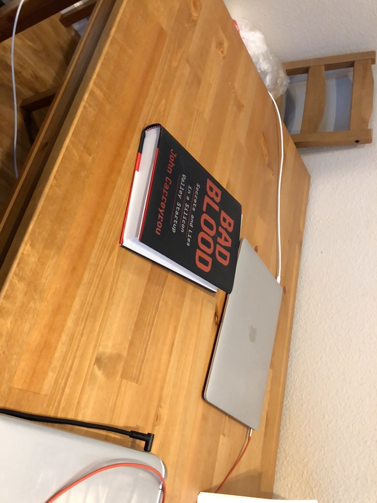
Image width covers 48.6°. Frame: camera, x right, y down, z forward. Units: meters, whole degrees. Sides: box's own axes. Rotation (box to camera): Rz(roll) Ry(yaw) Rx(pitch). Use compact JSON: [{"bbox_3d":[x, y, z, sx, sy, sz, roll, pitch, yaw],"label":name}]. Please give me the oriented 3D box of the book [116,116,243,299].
[{"bbox_3d":[0.005,-0.047,0.617,0.252,0.030,0.178,32,61,-52],"label":"book"}]
